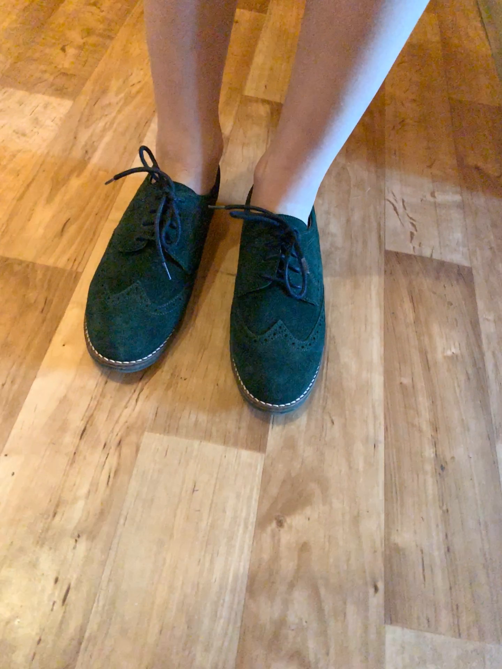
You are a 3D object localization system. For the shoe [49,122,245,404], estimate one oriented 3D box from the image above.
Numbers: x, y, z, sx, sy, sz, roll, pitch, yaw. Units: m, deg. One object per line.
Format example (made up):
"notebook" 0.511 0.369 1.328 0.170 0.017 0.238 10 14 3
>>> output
"shoe" -0.081 -0.078 0.476 0.090 0.080 0.261 14 55 -1

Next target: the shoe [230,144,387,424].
"shoe" 0.037 -0.053 0.462 0.100 0.080 0.251 3 55 -8
